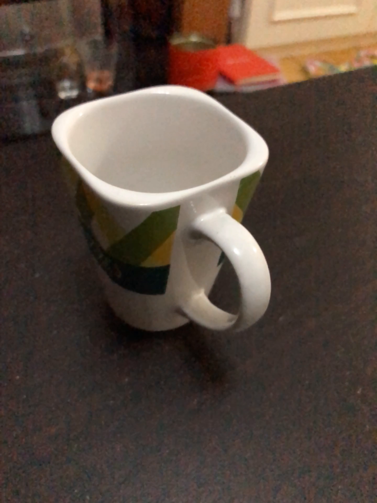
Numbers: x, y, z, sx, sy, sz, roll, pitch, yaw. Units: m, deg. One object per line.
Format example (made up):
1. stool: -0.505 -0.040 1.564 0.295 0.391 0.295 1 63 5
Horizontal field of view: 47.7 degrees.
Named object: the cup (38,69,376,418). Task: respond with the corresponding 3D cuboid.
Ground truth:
1. cup: -0.001 -0.010 0.195 0.080 0.089 0.110 -25 53 -26
